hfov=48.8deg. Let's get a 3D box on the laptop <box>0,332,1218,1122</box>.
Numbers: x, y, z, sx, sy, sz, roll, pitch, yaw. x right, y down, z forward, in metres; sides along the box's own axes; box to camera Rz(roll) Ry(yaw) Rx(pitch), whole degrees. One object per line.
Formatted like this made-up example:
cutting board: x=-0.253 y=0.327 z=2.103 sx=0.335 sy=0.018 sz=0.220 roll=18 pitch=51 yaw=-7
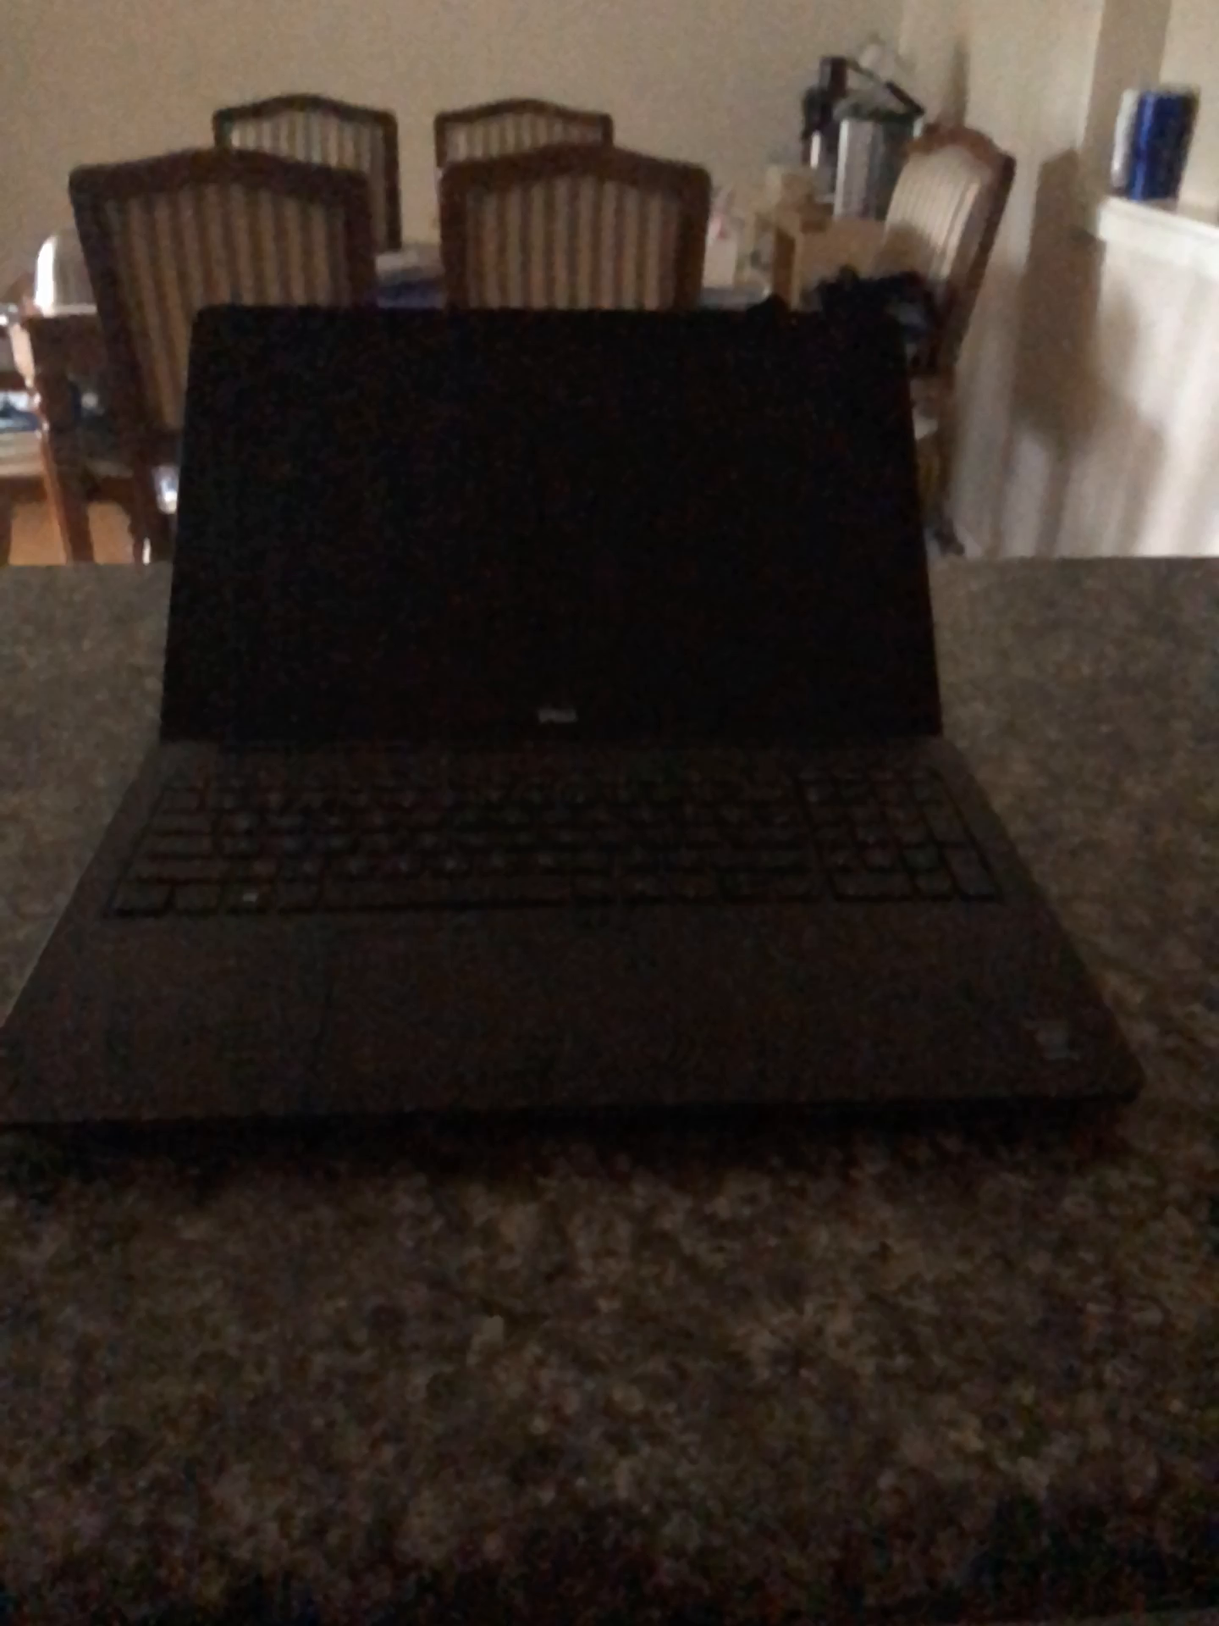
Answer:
laptop: x=-0.019 y=-0.079 z=0.560 sx=0.361 sy=0.158 sz=0.416 roll=-1 pitch=30 yaw=-3
